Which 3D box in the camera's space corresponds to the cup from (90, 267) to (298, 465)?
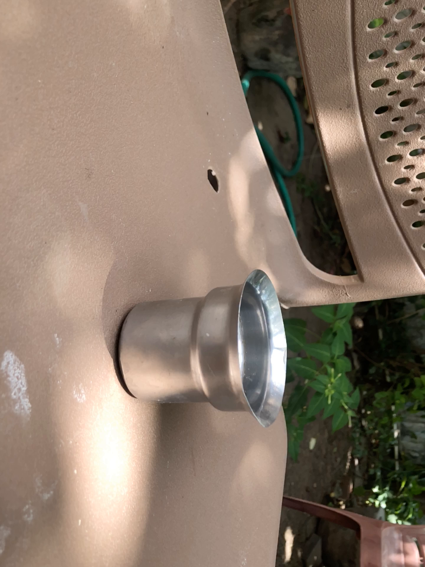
[{"bbox_3d":[-0.005,0.031,0.216,0.060,0.069,0.070,-12,100,-64],"label":"cup"}]
